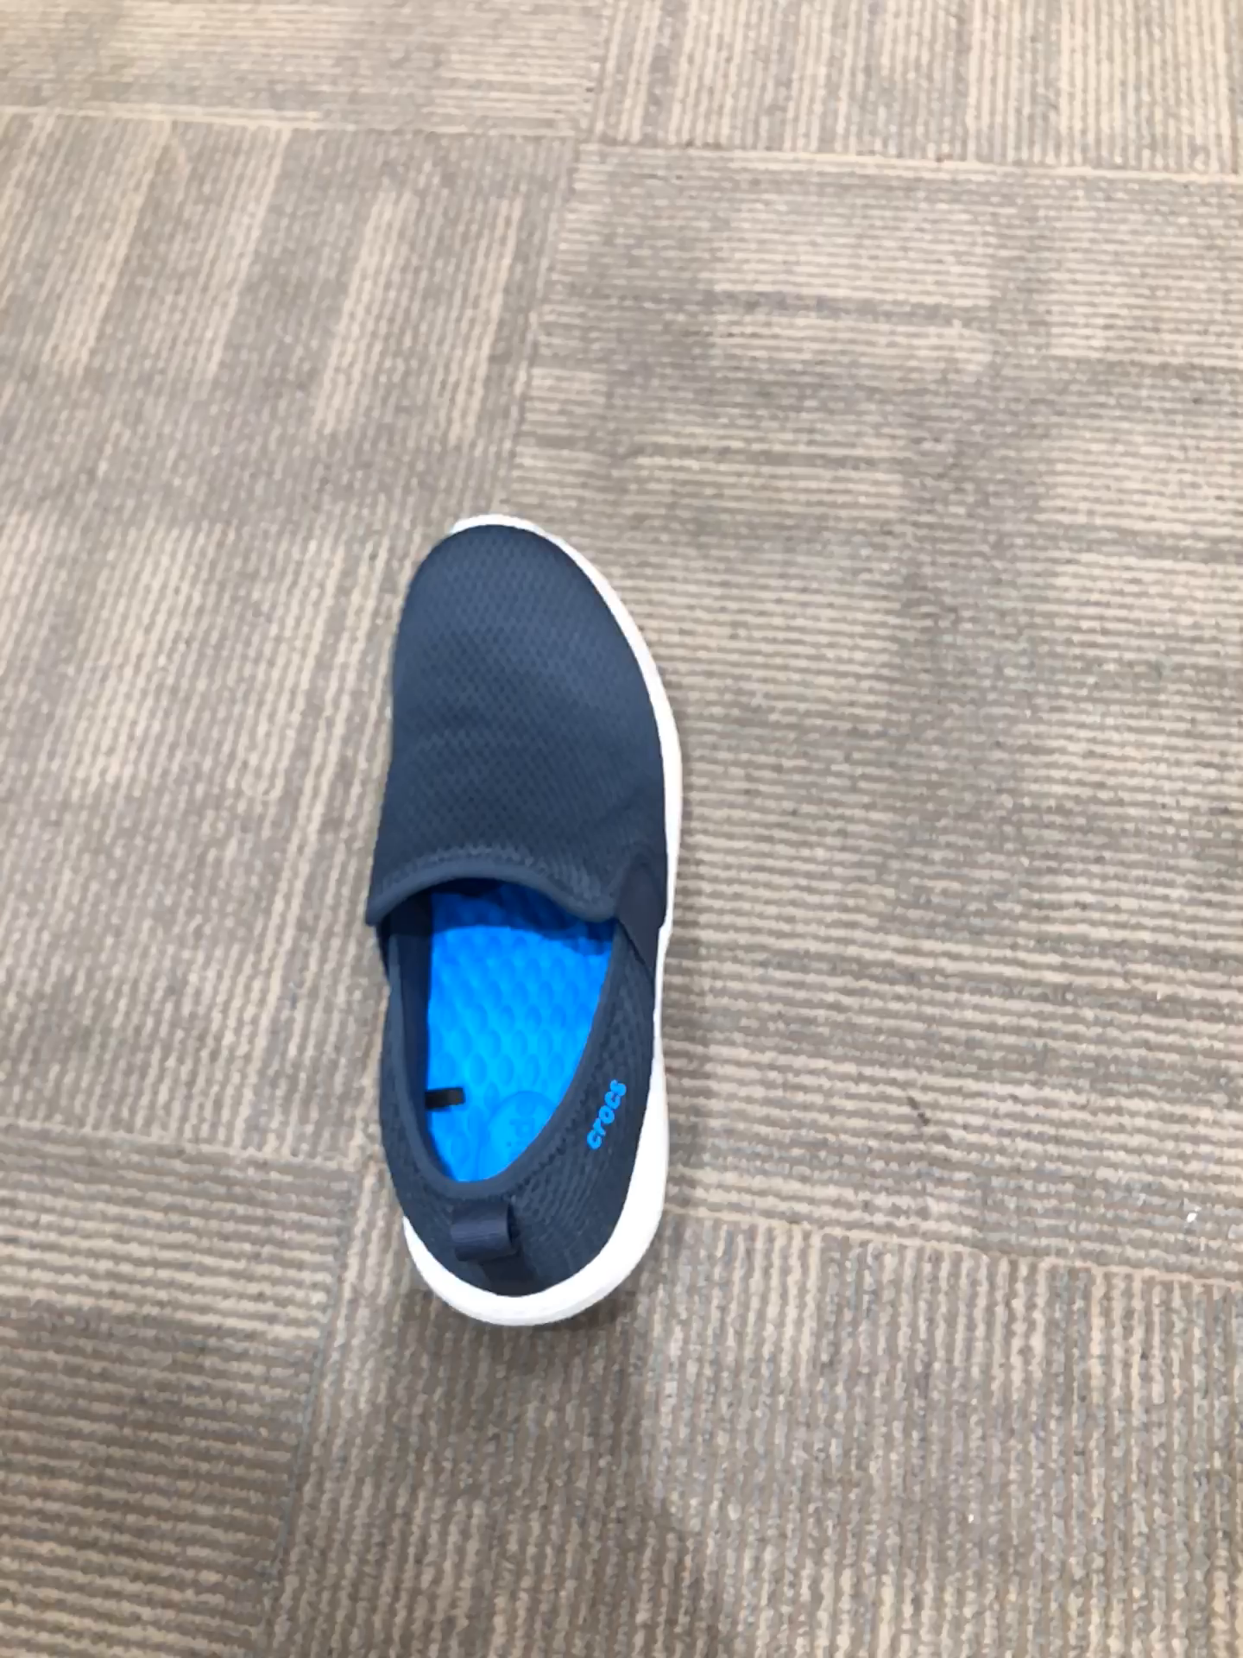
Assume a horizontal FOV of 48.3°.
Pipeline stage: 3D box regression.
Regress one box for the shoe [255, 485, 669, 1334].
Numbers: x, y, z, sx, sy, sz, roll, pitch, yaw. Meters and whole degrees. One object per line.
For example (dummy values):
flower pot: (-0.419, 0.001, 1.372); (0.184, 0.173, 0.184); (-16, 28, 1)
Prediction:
shoe: (-0.041, 0.030, 0.485); (0.110, 0.120, 0.271); (-1, 67, 3)
